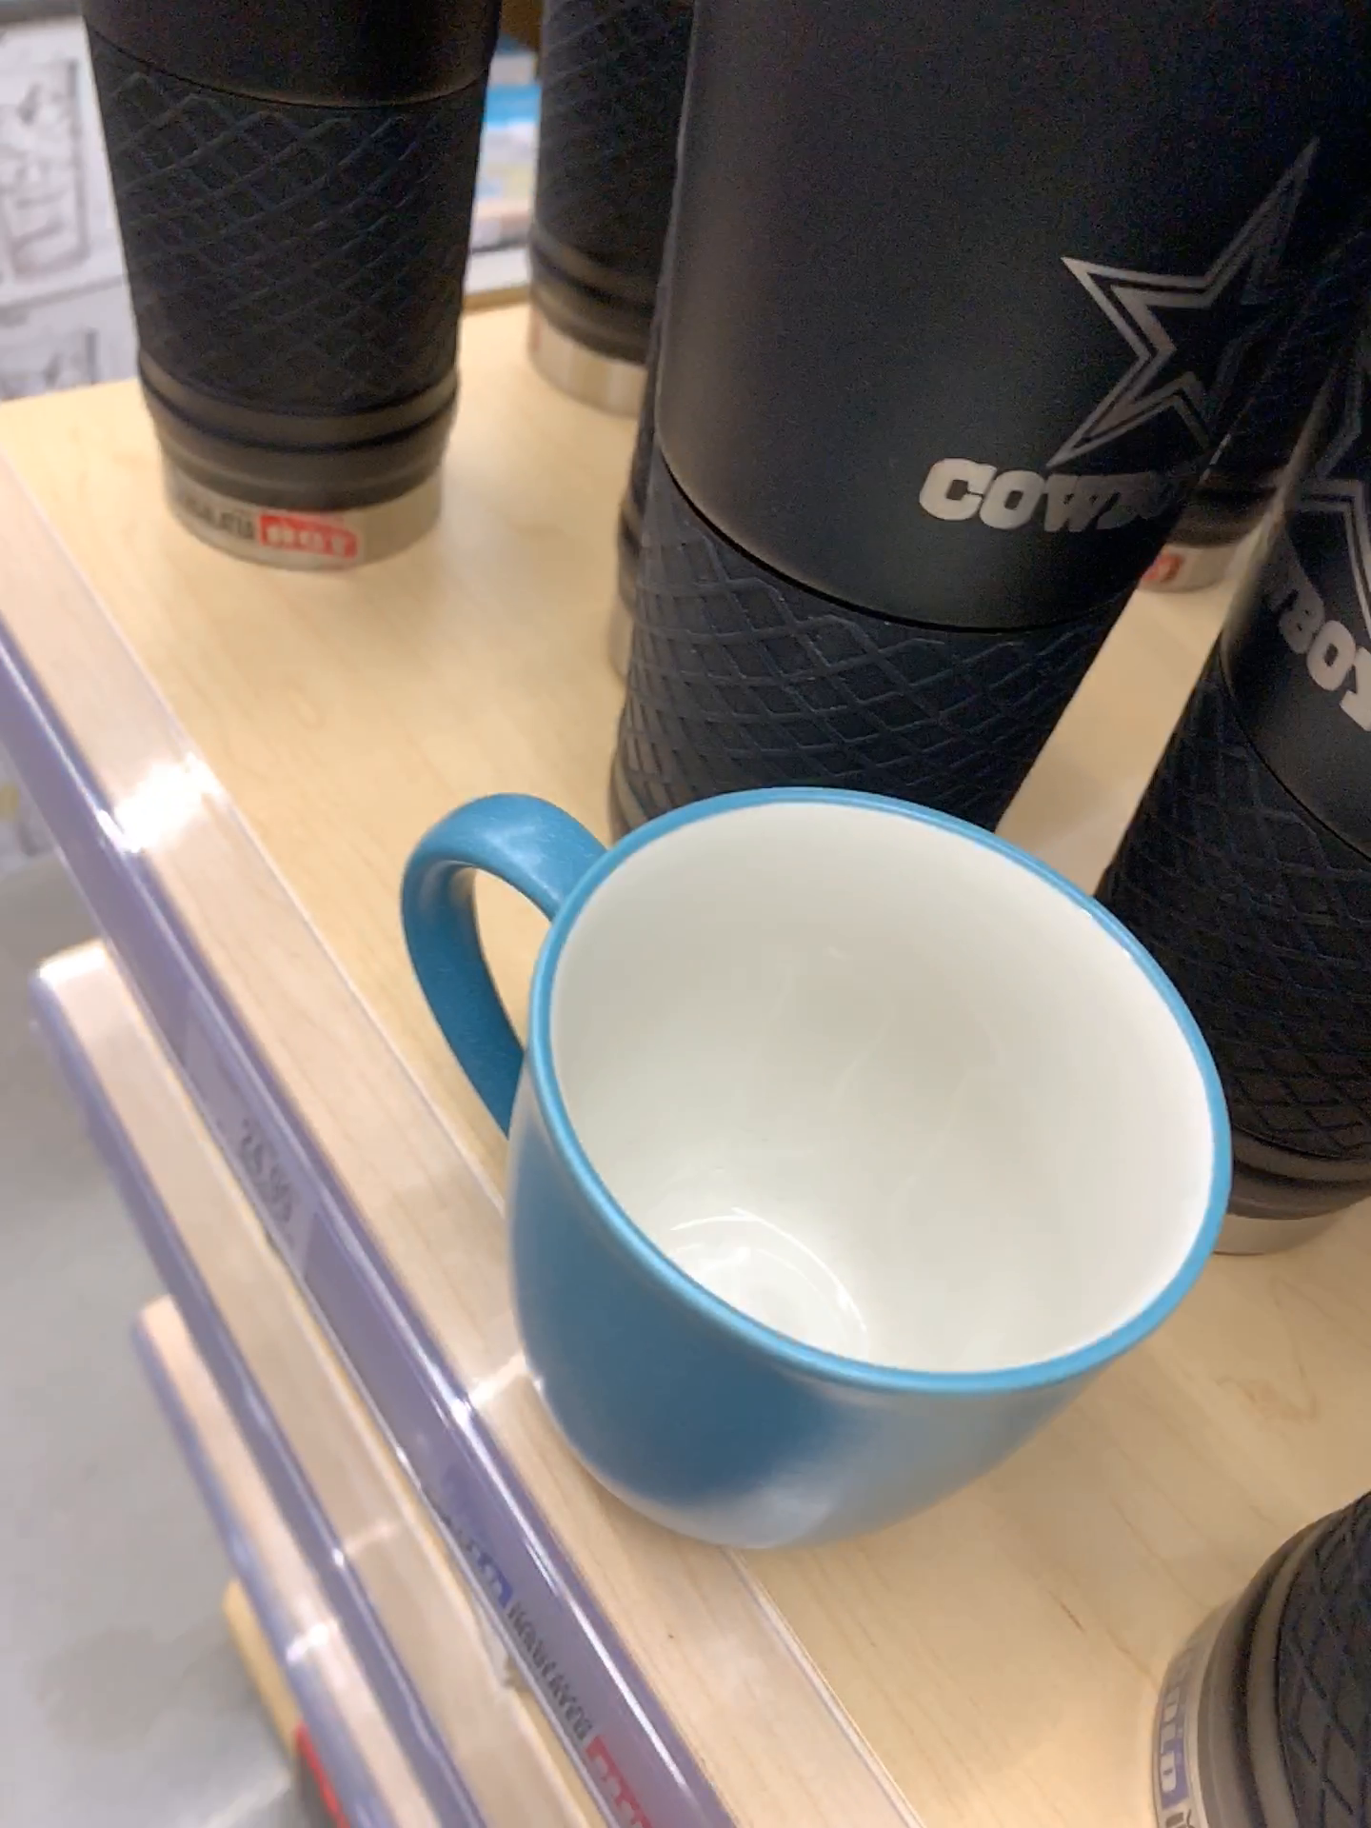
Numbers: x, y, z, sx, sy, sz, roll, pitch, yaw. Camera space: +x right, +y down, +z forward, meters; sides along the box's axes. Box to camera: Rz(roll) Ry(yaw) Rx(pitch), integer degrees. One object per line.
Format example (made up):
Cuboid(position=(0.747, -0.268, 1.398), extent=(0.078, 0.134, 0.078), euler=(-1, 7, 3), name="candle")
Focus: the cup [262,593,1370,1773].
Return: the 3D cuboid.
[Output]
Cuboid(position=(0.012, 0.033, 0.208), extent=(0.090, 0.084, 0.116), euler=(-32, 63, -33), name="cup")
